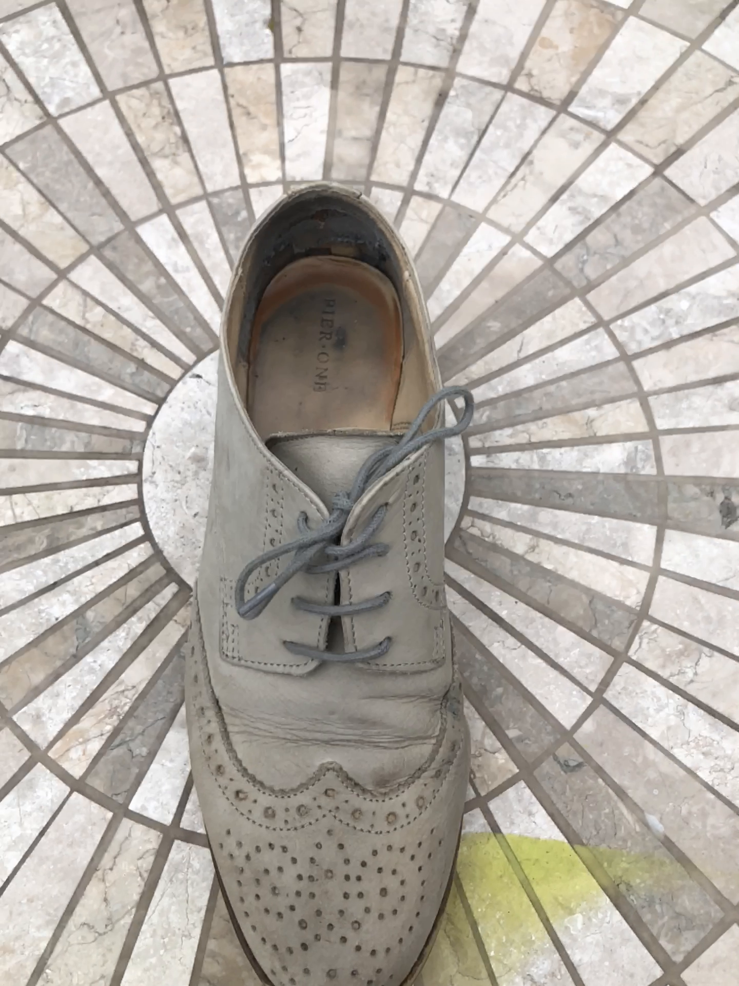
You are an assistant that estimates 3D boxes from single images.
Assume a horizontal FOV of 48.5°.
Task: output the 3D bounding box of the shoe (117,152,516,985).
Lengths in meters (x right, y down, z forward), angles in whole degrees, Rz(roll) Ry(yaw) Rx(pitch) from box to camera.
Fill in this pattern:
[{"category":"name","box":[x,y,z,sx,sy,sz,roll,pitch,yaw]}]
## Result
[{"category":"shoe","box":[-0.015,0.023,0.265,0.090,0.079,0.257,-1,71,0]}]
